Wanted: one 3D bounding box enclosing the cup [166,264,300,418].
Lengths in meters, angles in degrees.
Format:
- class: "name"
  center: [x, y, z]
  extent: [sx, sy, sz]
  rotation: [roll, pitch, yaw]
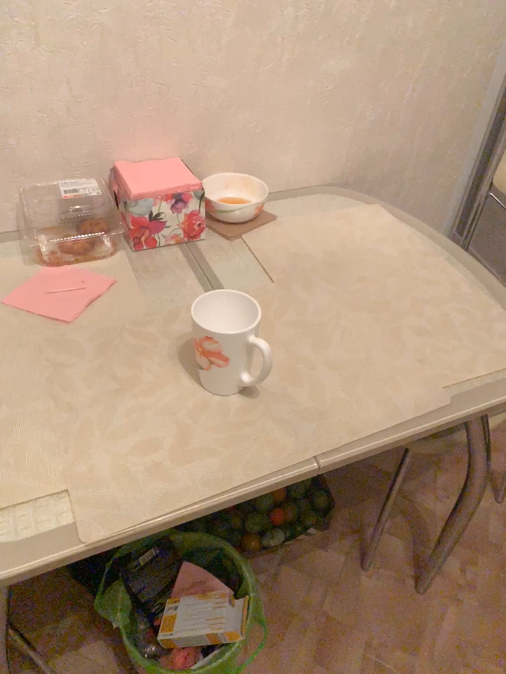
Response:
- class: "cup"
  center: [-0.024, 0.002, 0.587]
  extent: [0.120, 0.109, 0.080]
  rotation: [29, 47, 27]
